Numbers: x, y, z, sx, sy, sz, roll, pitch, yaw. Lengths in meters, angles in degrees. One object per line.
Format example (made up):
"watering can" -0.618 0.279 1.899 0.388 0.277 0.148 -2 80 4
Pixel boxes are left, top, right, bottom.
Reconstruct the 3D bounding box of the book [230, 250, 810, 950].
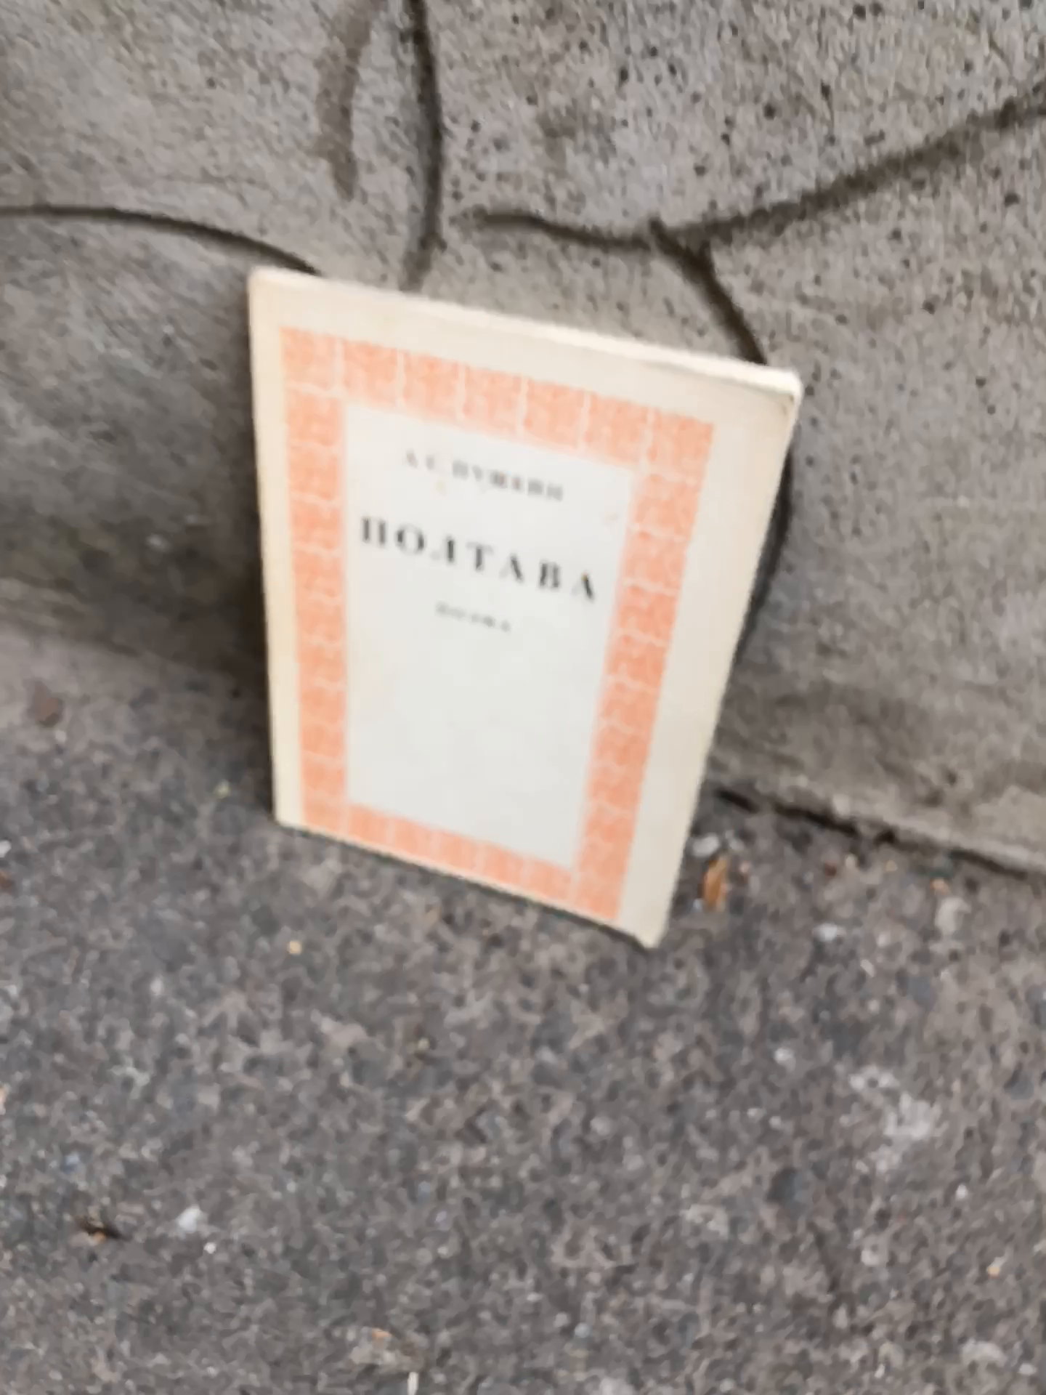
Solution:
"book" -0.012 -0.018 0.362 0.150 0.199 0.020 17 40 12
